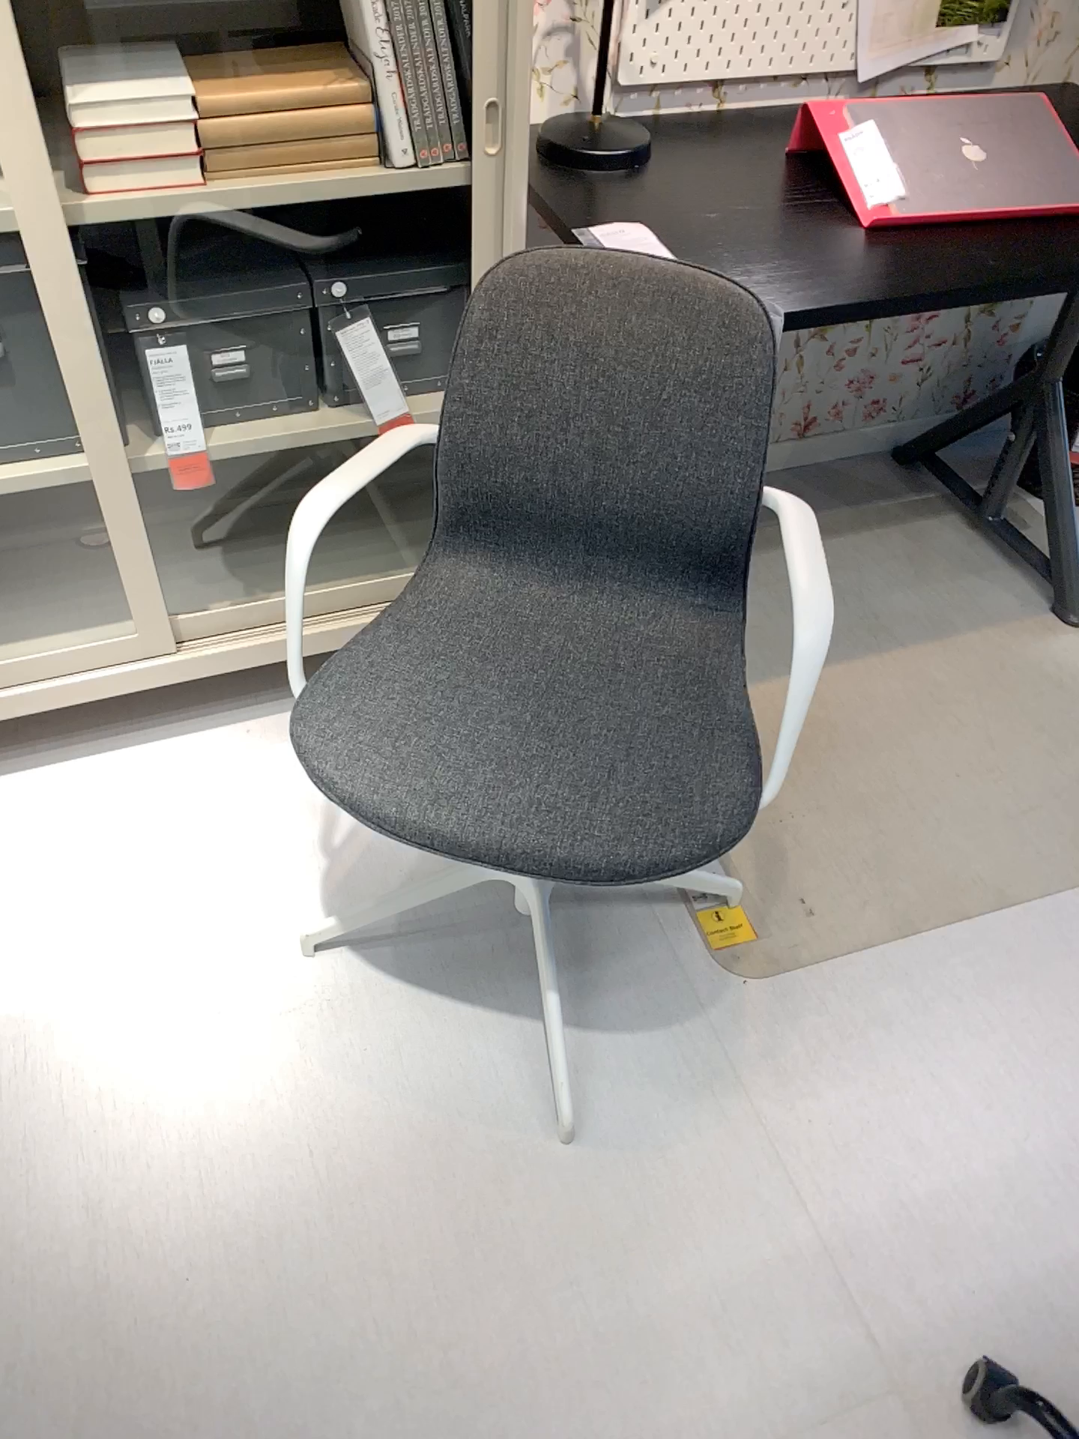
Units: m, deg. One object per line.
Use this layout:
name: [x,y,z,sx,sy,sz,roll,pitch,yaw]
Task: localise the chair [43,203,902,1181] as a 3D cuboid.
chair: [-0.011,-0.012,1.290,0.620,0.837,0.642,12,47,7]
